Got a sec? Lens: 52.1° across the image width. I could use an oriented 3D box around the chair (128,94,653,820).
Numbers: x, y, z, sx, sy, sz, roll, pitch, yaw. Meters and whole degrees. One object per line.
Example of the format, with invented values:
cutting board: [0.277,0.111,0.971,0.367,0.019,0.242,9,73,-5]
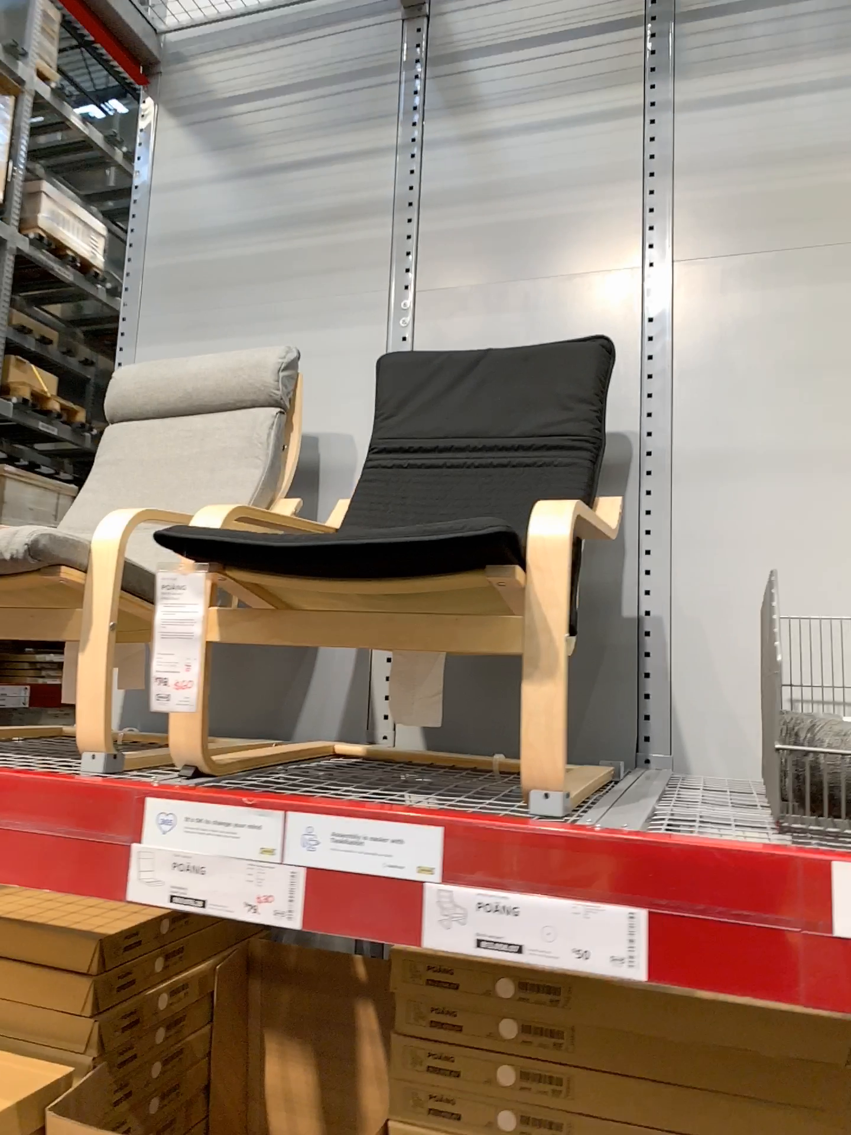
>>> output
chair: [0.040,-0.125,1.685,0.720,1.012,0.838,0,-8,18]
